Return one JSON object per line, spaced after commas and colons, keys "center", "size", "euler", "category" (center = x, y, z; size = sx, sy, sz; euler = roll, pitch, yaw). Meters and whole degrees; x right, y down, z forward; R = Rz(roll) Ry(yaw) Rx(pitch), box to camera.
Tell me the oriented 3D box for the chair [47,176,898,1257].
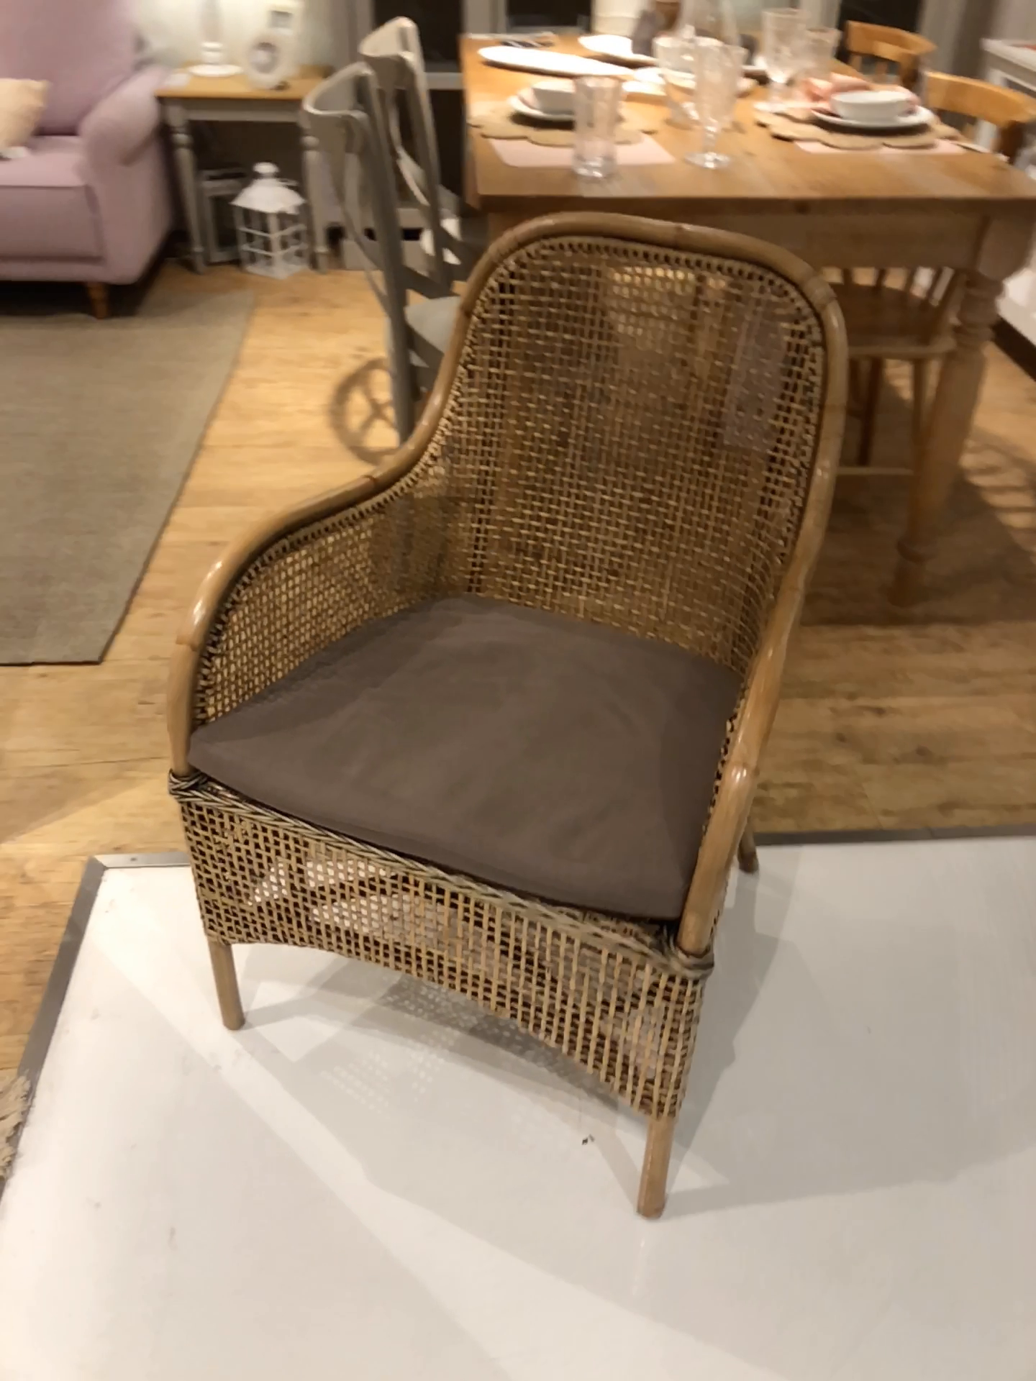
{"center": [0.011, 0.006, 1.264], "size": [0.540, 0.903, 0.625], "euler": [14, 38, 17], "category": "chair"}
